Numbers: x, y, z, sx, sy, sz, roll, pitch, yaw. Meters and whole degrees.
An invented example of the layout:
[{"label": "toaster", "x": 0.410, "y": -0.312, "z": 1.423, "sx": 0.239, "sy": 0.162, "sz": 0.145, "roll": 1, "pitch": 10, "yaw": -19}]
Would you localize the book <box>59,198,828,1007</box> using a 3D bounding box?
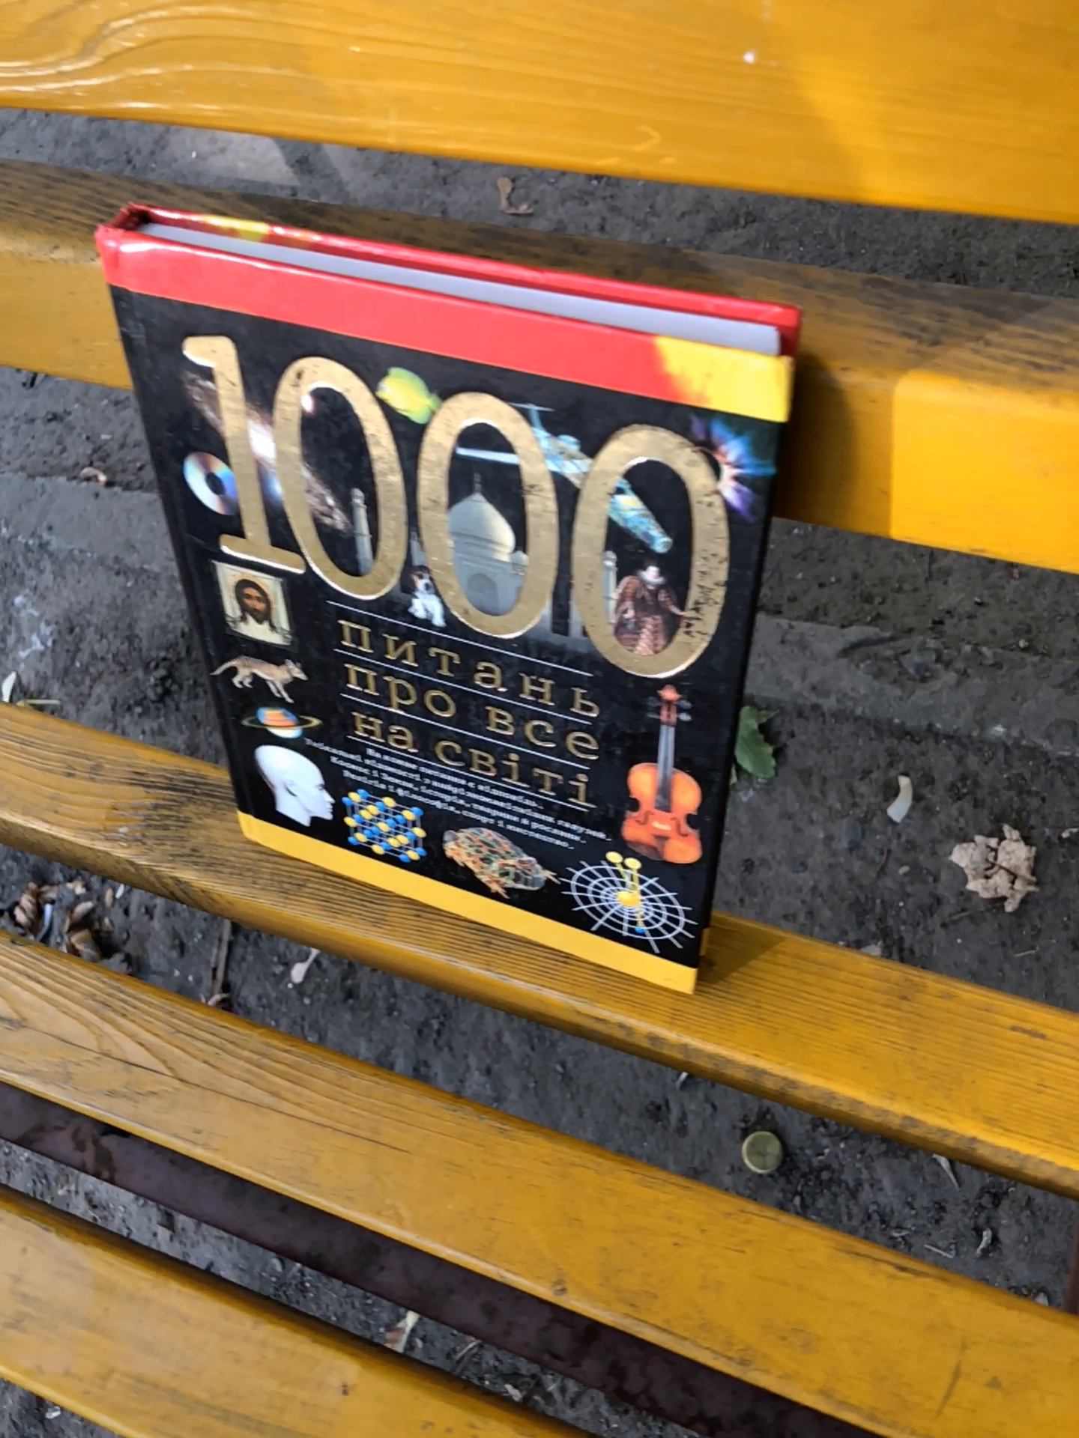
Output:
[{"label": "book", "x": -0.026, "y": -0.022, "z": 0.327, "sx": 0.172, "sy": 0.201, "sz": 0.032, "roll": 16, "pitch": 44, "yaw": 17}]
